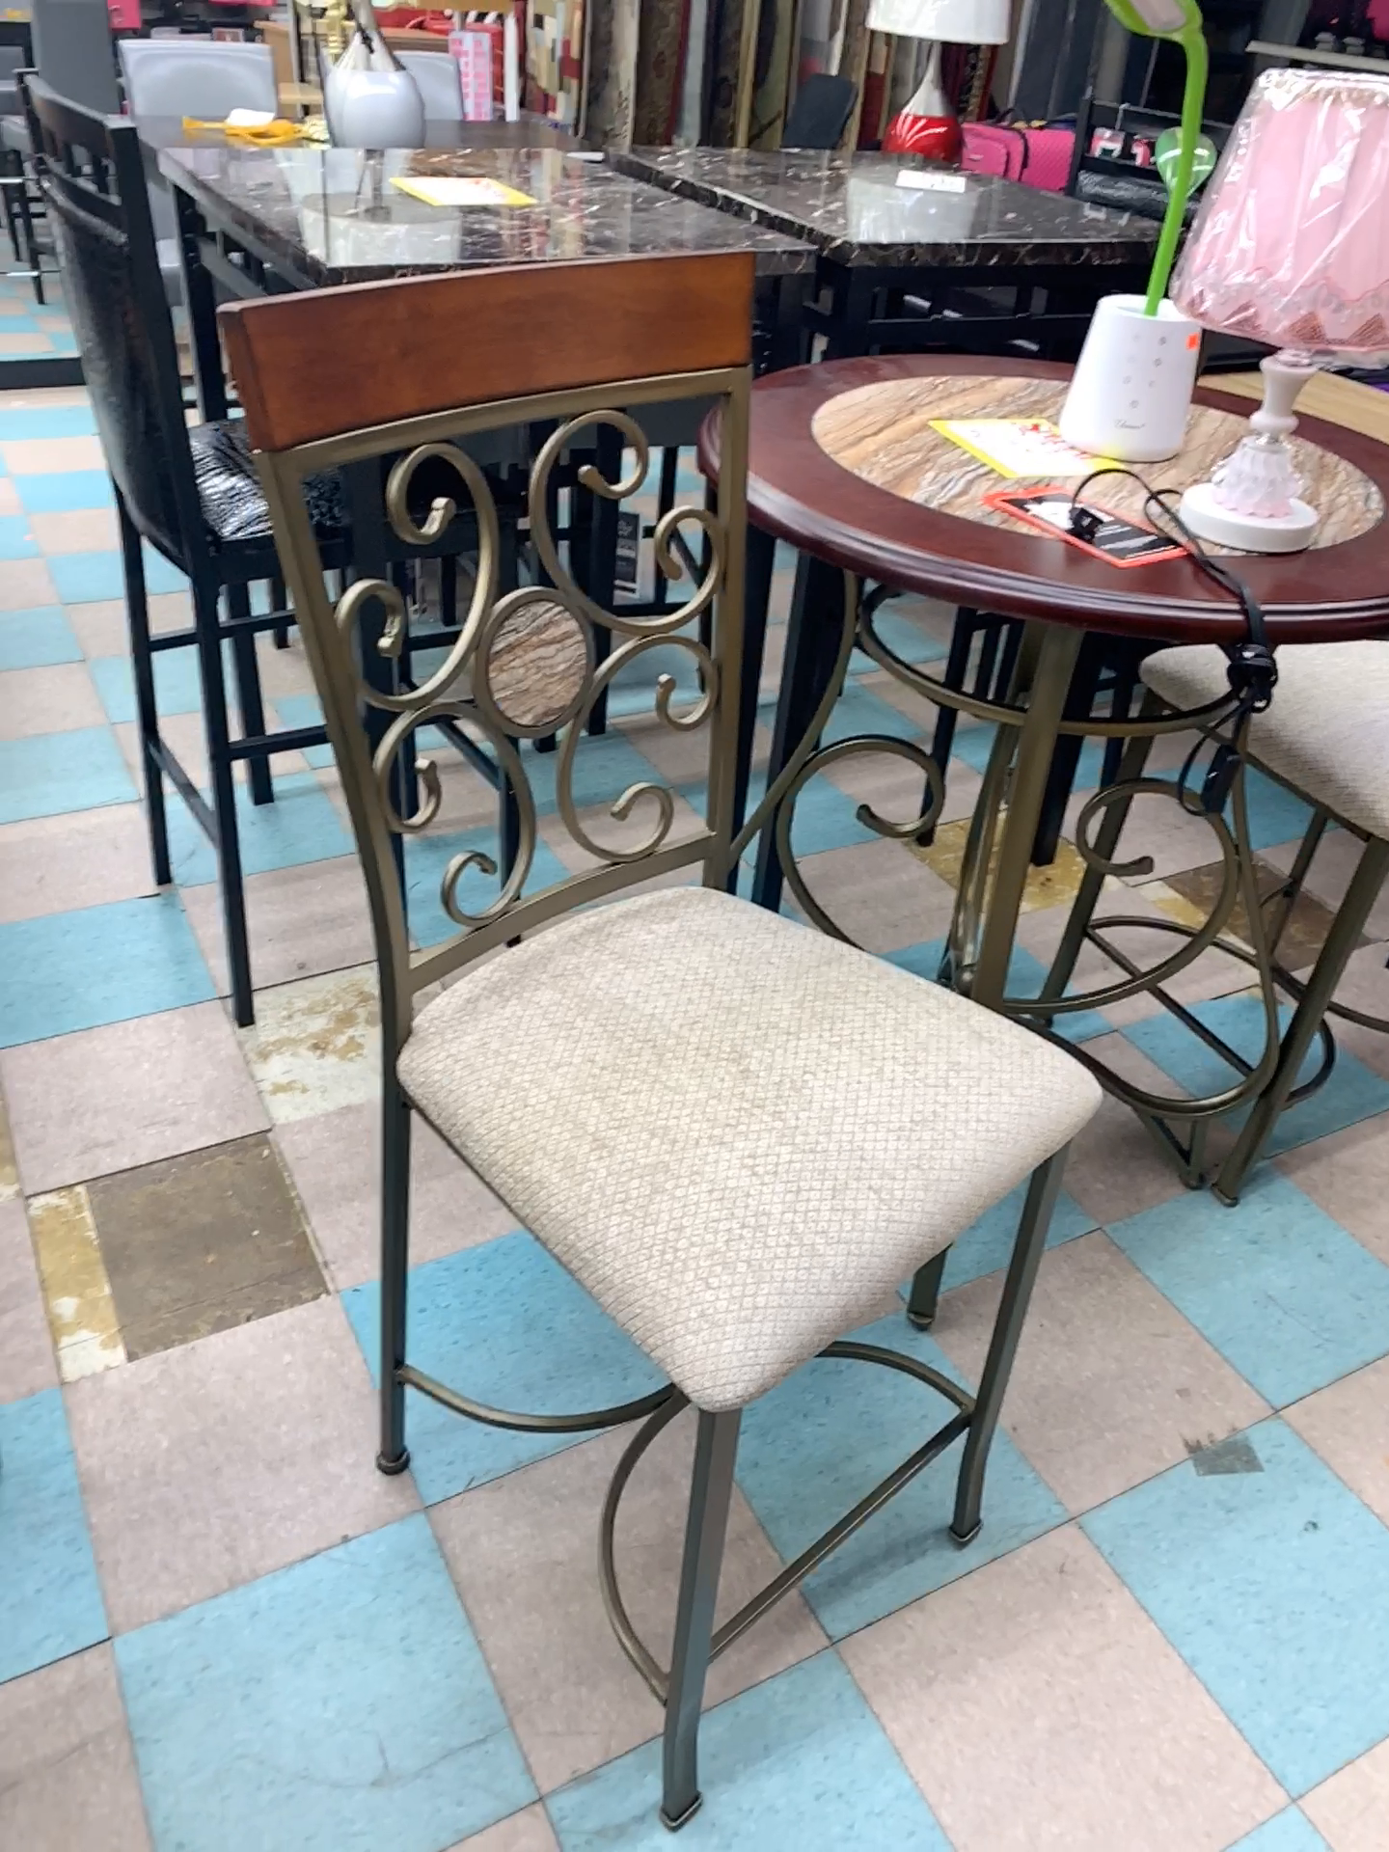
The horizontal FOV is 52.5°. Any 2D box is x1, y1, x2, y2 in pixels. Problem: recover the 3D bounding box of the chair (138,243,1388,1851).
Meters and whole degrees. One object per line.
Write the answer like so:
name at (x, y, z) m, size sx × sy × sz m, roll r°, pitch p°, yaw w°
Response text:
chair at (0.007, 0.107, 1.133) m, size 0.511 × 1.074 × 0.562 m, roll -25°, pitch 45°, yaw -35°
